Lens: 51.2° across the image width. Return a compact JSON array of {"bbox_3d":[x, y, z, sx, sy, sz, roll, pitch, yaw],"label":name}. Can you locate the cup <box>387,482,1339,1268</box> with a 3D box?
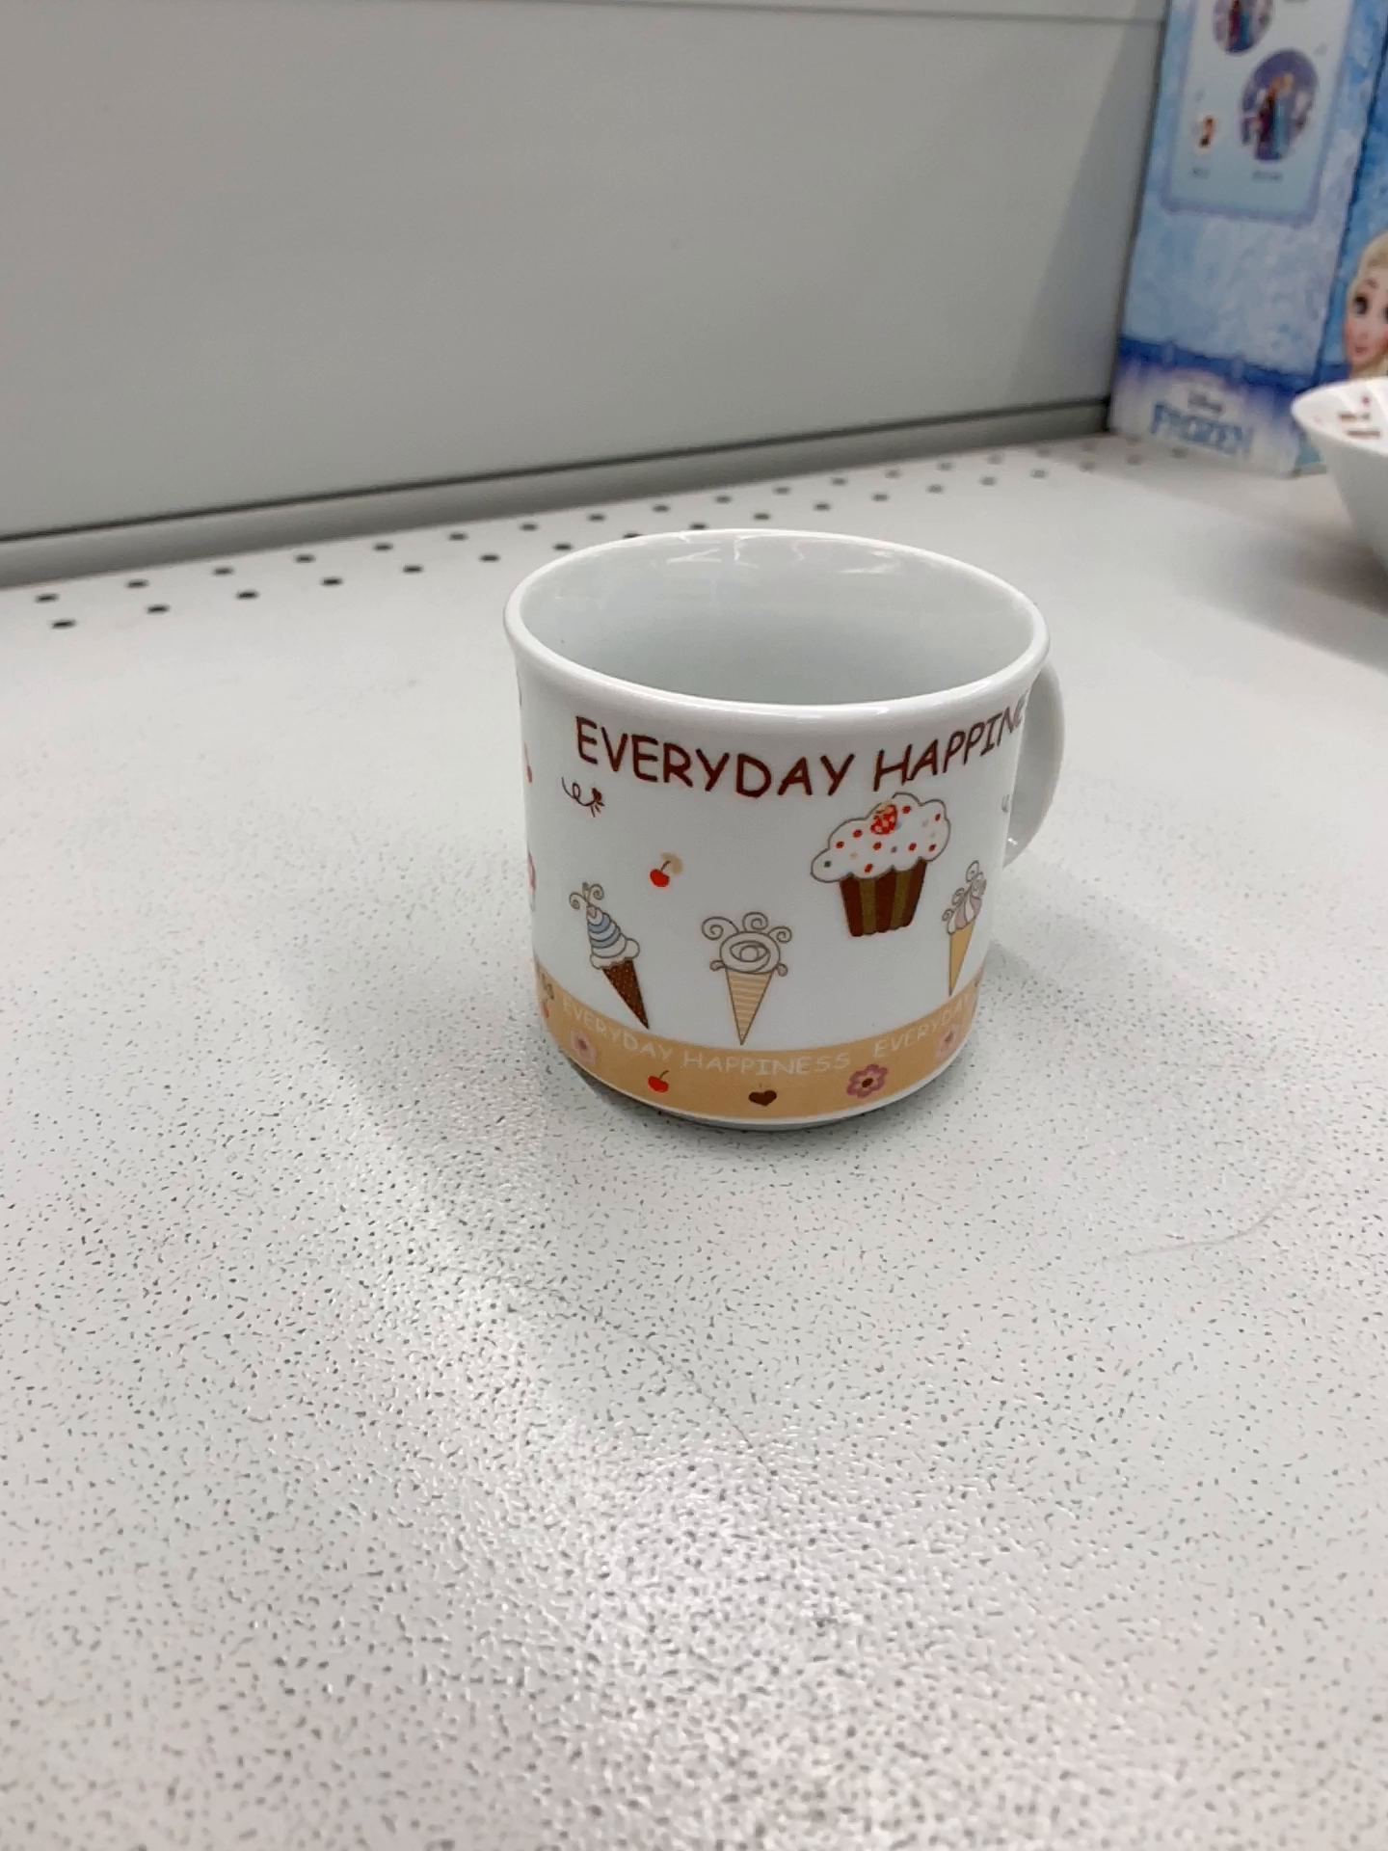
[{"bbox_3d":[0.022,-0.017,0.222,0.109,0.069,0.079,-16,35,-26],"label":"cup"}]
